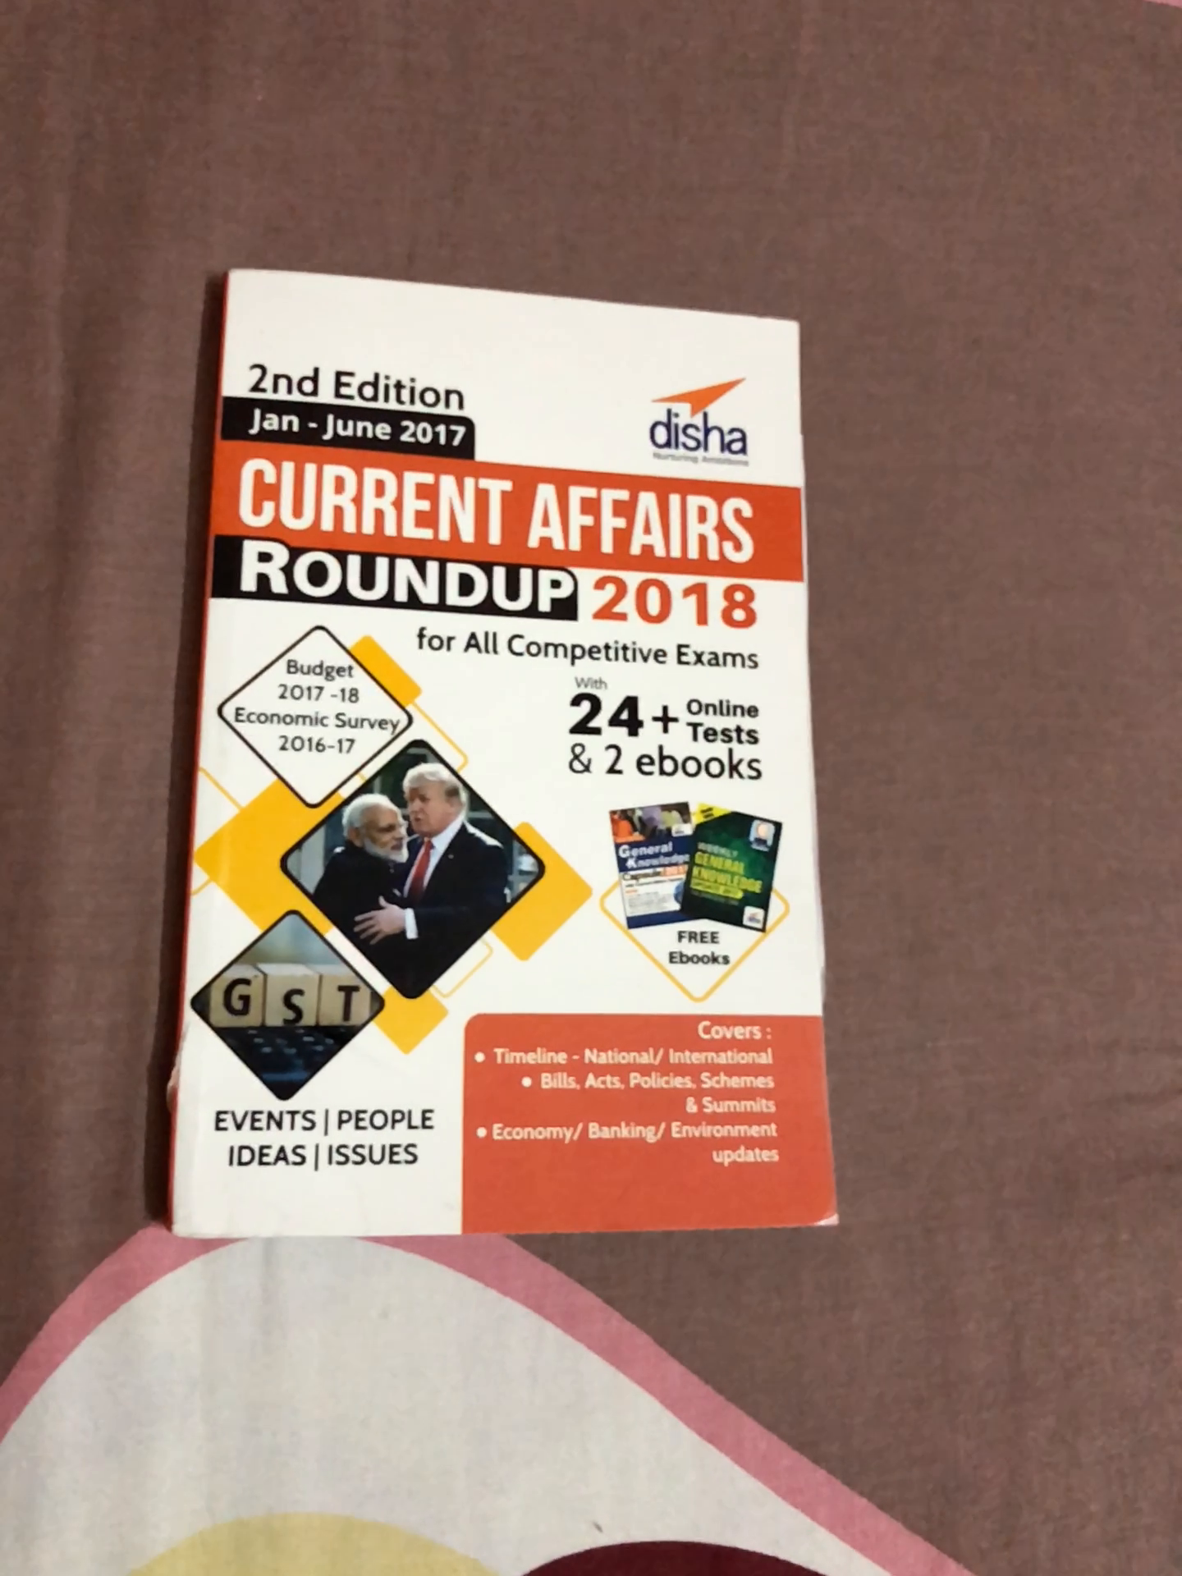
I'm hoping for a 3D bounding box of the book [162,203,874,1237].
[{"bbox_3d":[-0.015,-0.017,0.301,0.140,0.040,0.220,2,77,-10],"label":"book"}]
